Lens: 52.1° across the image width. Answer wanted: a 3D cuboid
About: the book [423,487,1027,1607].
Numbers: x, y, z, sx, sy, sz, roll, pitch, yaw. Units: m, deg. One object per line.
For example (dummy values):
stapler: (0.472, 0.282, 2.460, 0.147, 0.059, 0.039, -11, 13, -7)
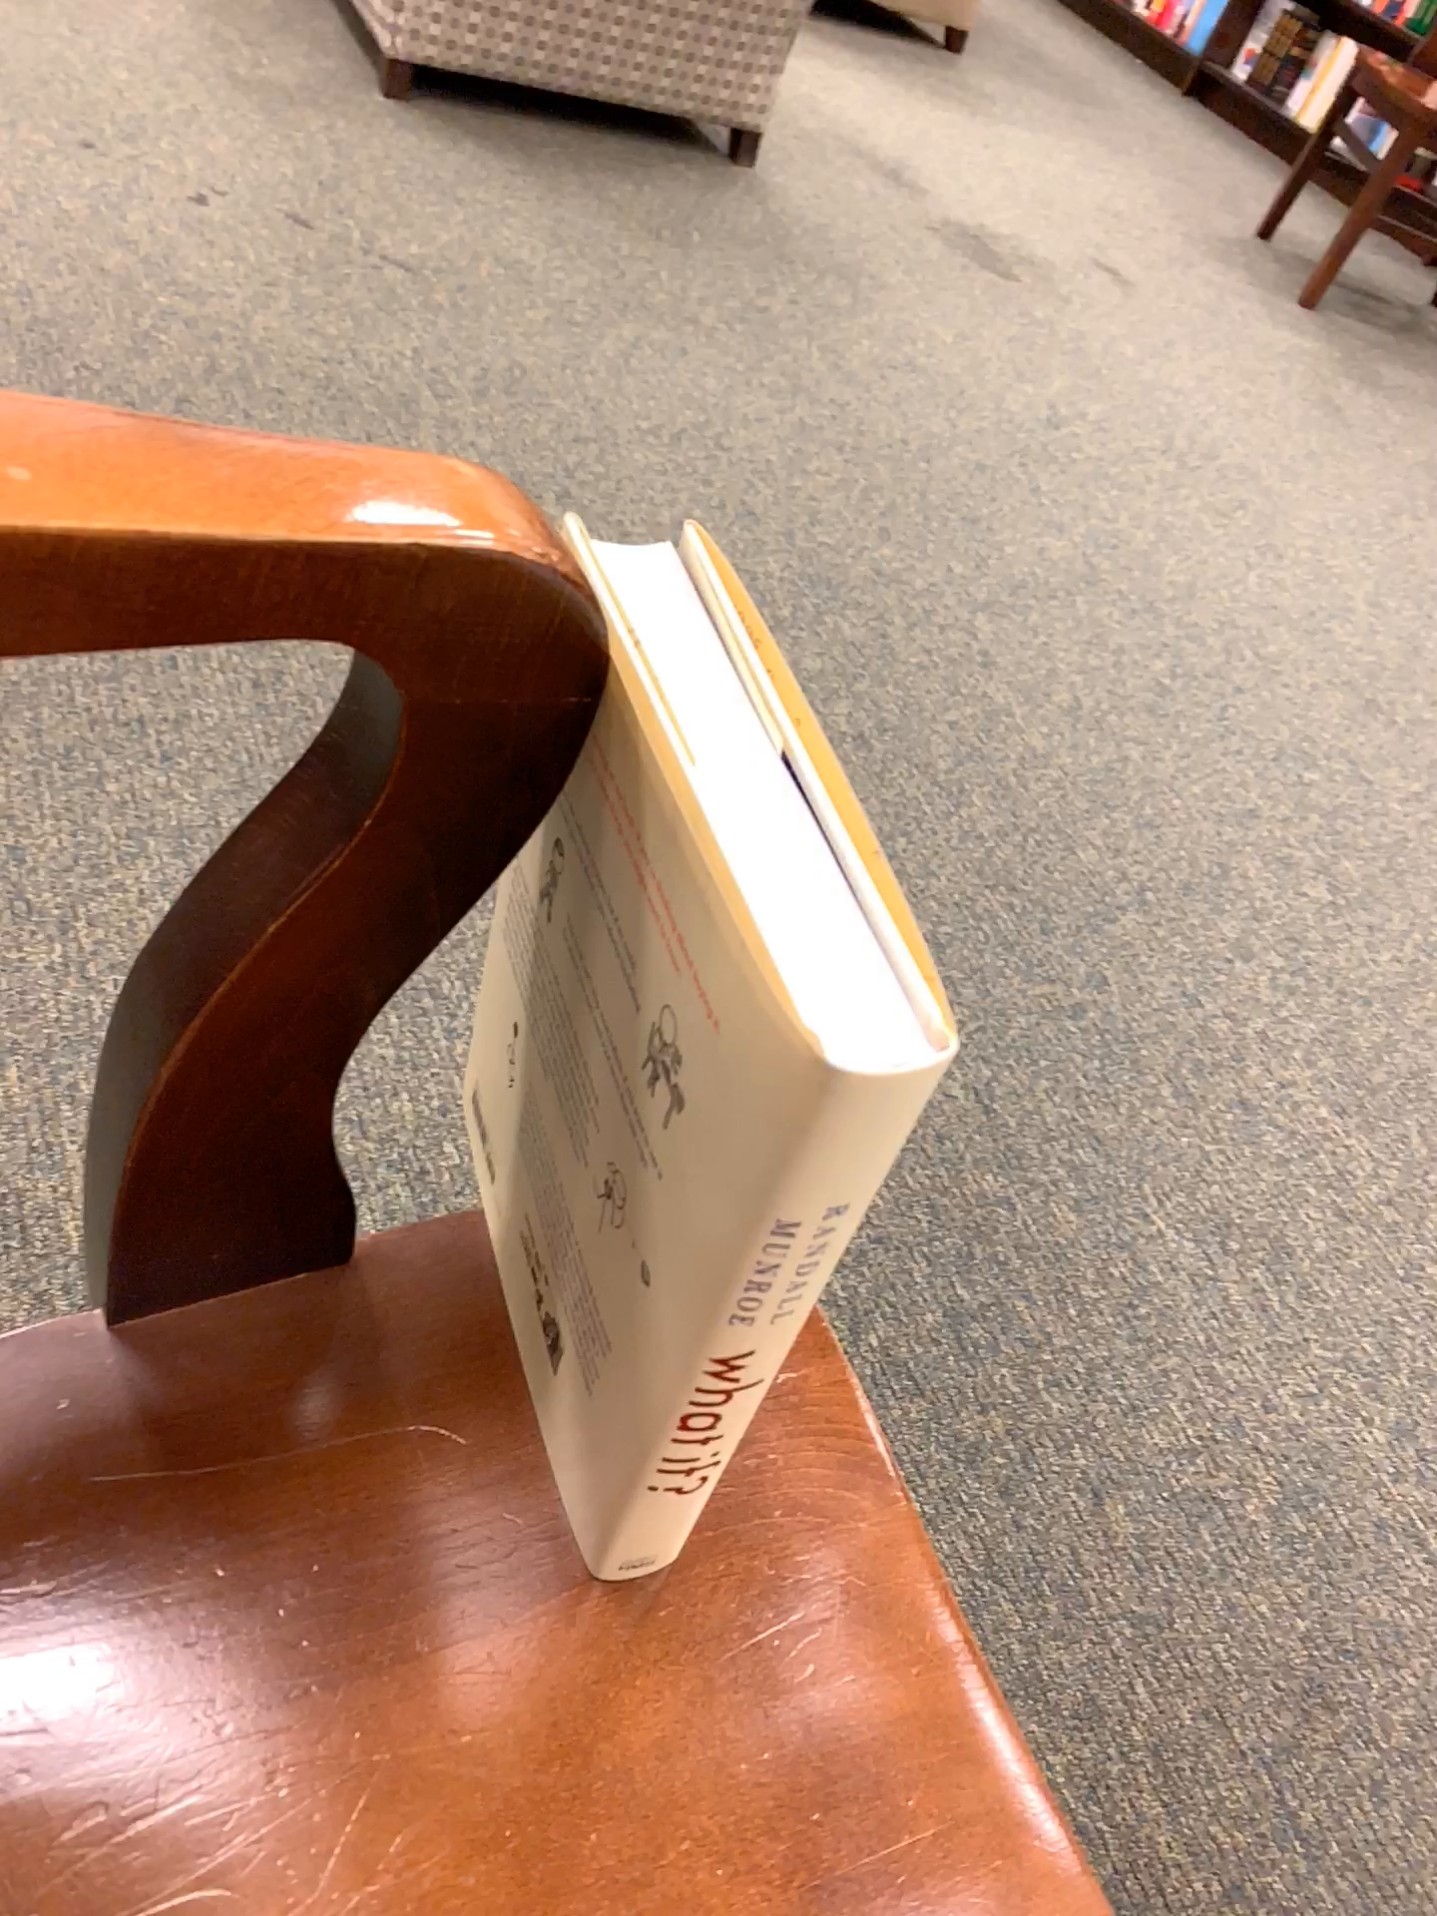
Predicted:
book: (-0.025, 0.032, 0.399, 0.050, 0.239, 0.188, -4, 49, -23)
